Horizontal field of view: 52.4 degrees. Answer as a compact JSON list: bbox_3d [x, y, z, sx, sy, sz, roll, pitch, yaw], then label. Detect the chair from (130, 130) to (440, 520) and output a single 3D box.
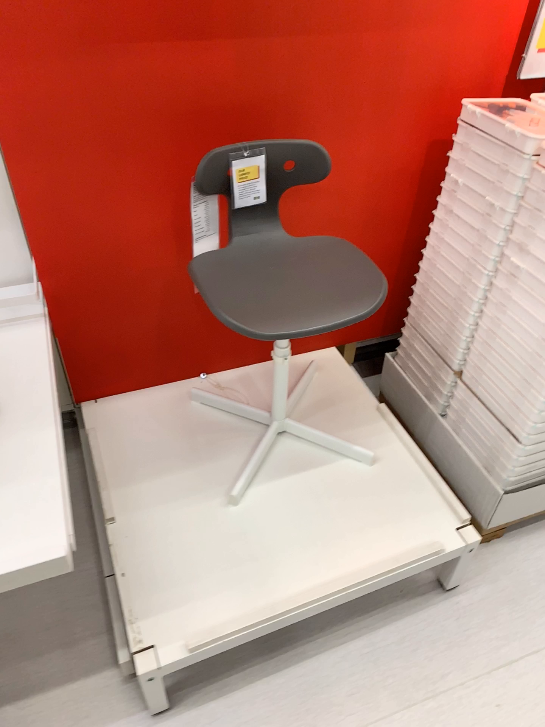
[{"bbox_3d":[-0.011,-0.090,1.292,0.460,0.697,0.452,-13,43,-17],"label":"chair"}]
